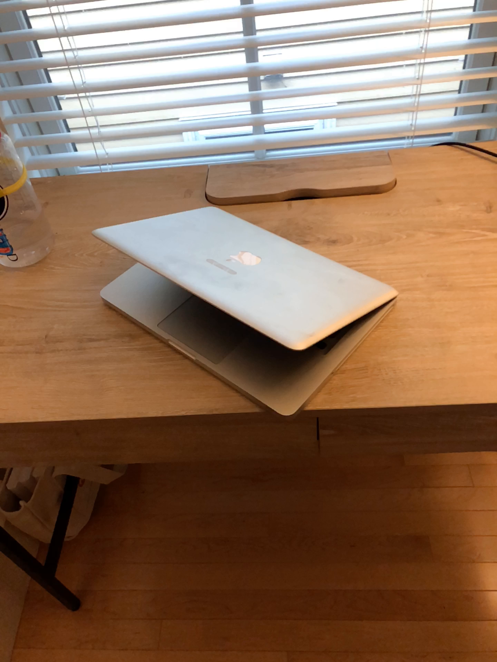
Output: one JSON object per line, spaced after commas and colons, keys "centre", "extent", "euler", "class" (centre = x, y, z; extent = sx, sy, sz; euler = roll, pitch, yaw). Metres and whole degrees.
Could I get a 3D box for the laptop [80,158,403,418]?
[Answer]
{"centre": [-0.012, -0.072, 0.635], "extent": [0.300, 0.082, 0.210], "euler": [31, 59, 29], "class": "laptop"}
